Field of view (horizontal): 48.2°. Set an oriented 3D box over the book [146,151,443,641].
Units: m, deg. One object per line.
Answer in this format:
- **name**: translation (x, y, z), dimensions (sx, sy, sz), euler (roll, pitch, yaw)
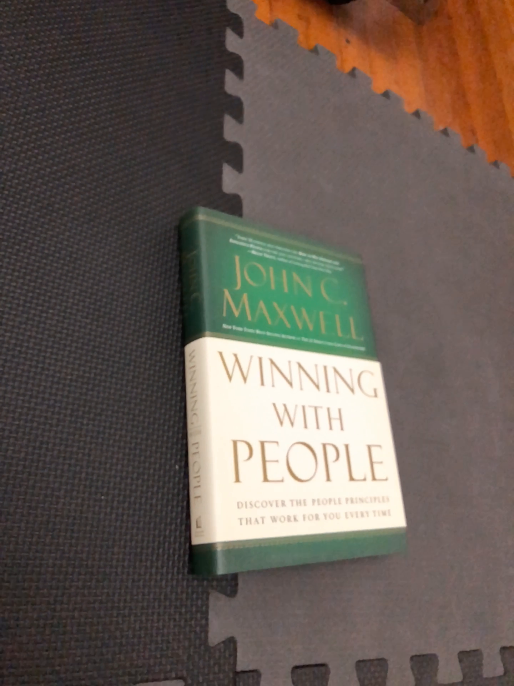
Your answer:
- **book**: translation (0.023, 0.027, 0.394), dimensions (0.201, 0.030, 0.291), euler (10, 64, -33)
